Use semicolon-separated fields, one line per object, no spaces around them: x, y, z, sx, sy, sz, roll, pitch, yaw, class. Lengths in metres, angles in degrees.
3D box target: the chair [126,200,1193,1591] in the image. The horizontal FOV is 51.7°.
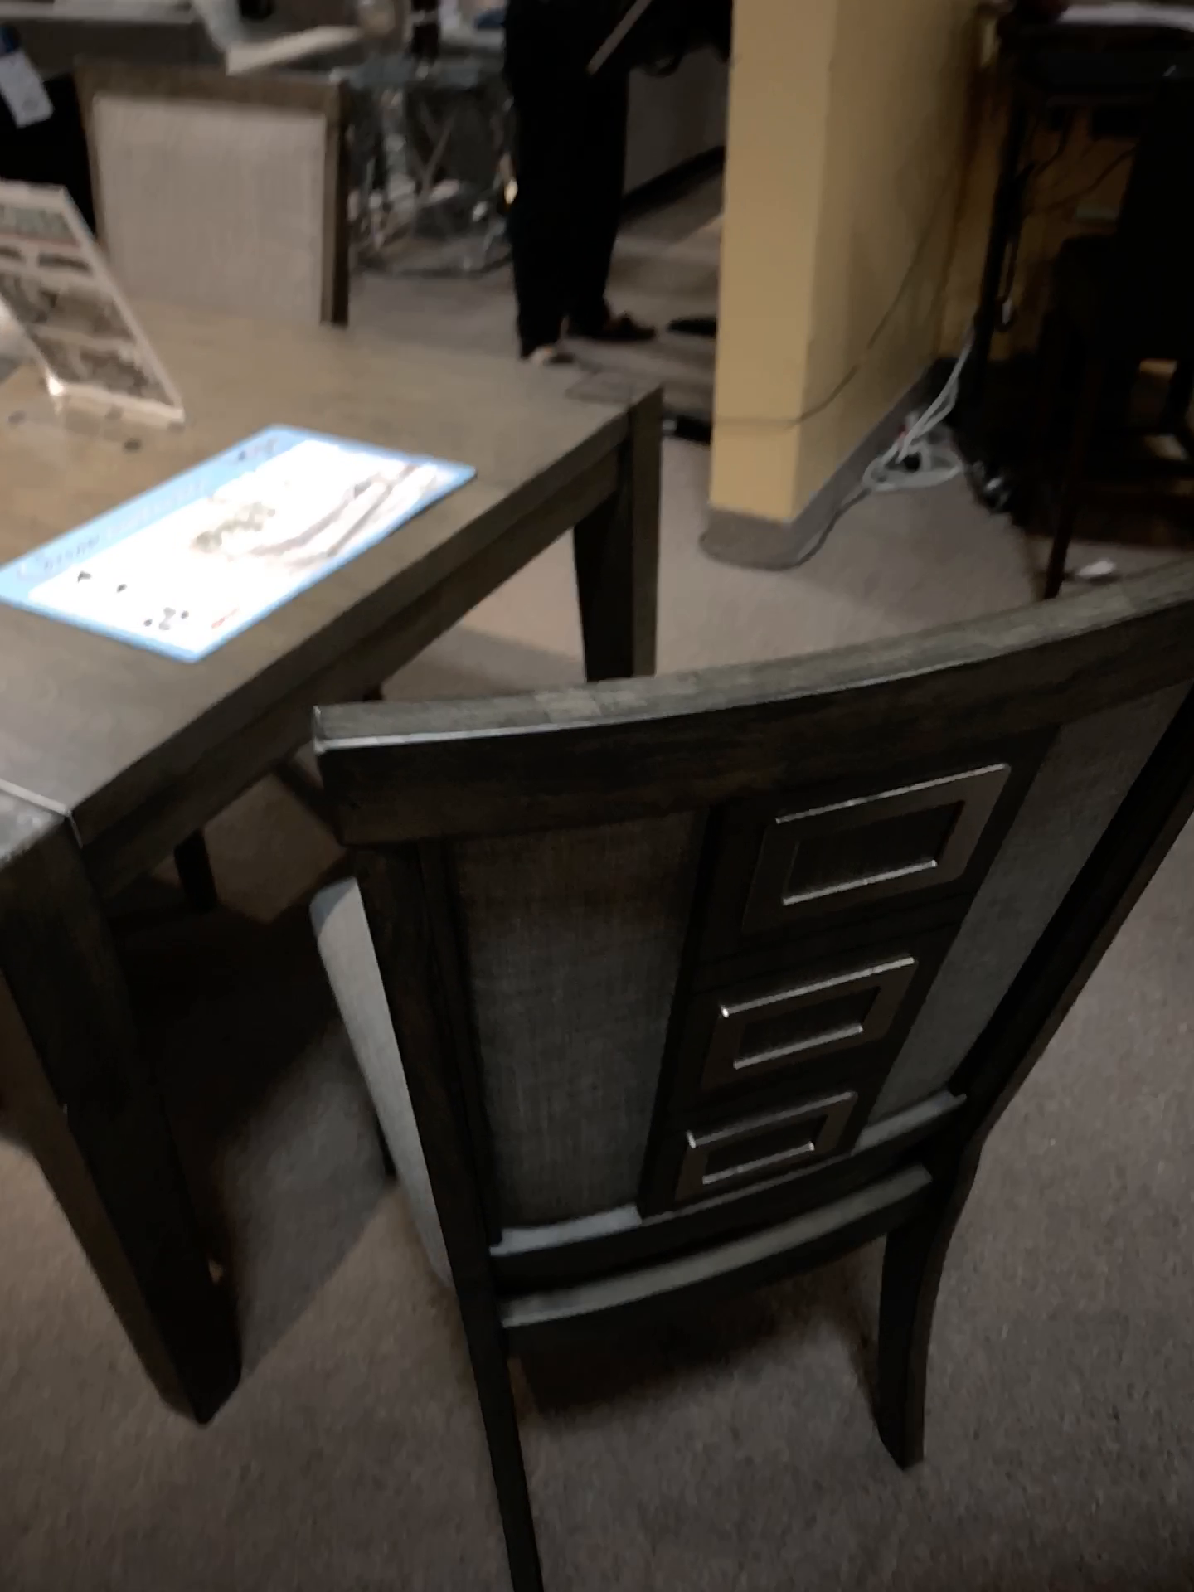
0.028;0.142;1.020;0.514;0.997;0.645;-14;40;-17;chair
